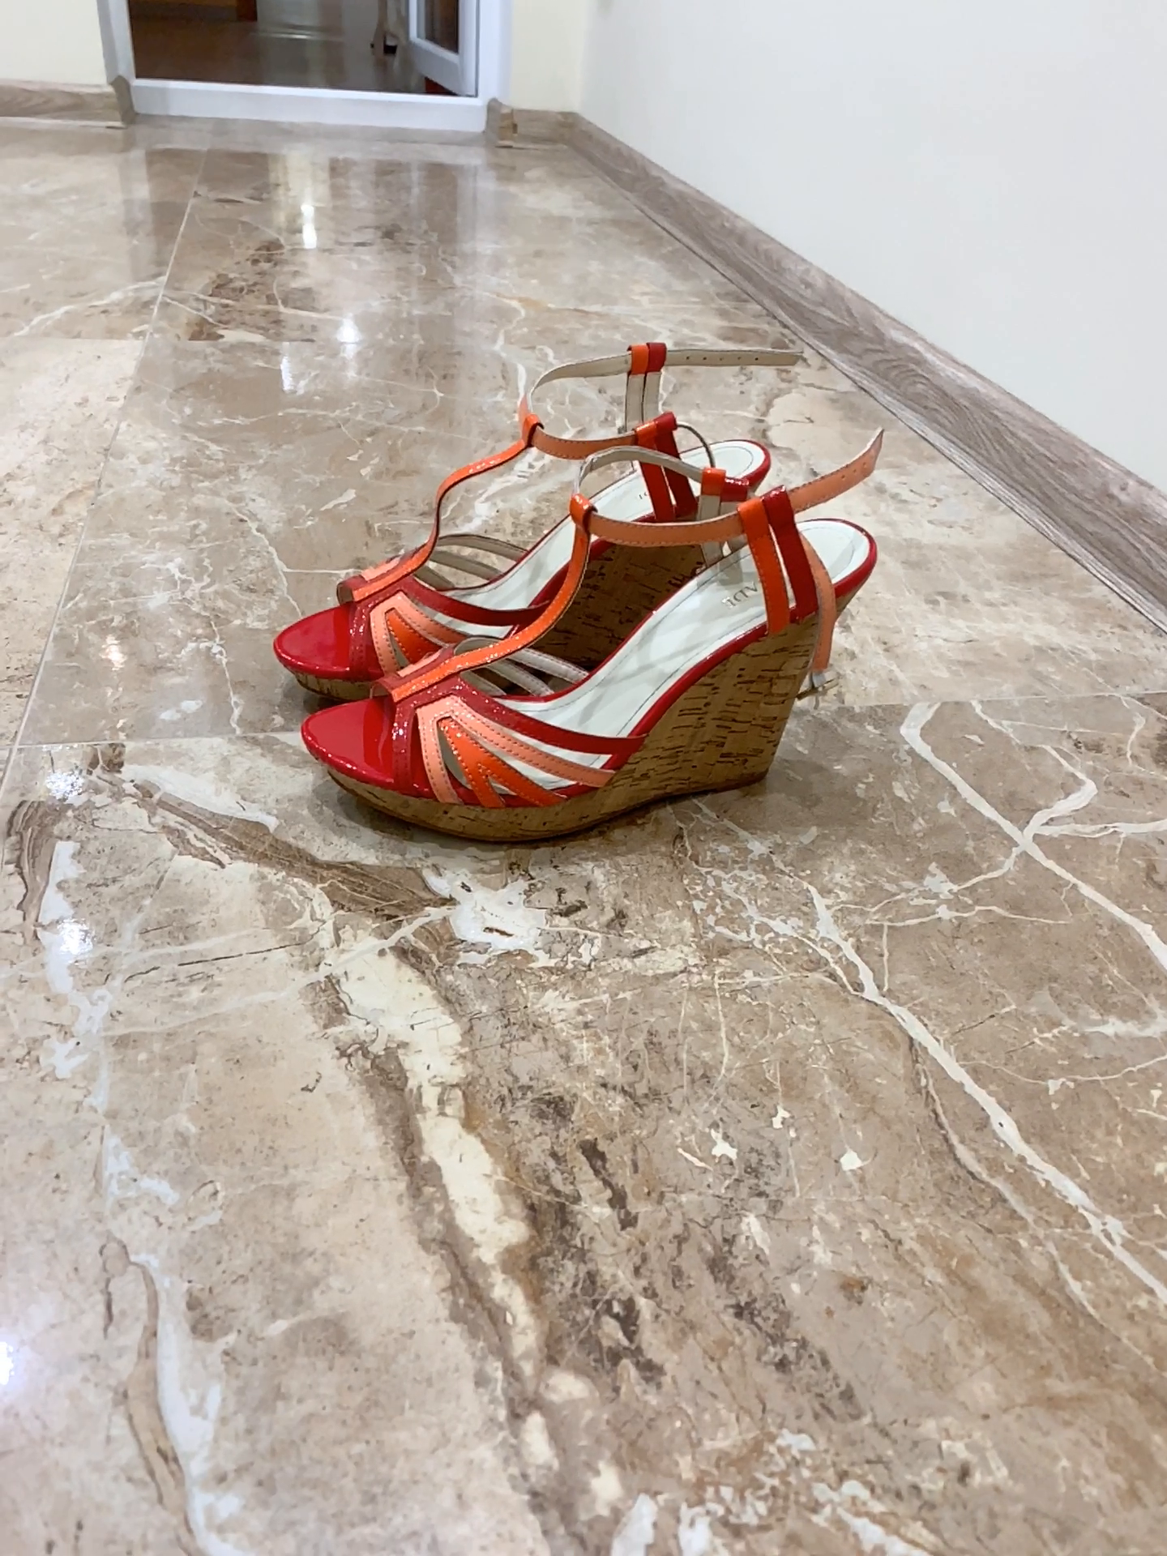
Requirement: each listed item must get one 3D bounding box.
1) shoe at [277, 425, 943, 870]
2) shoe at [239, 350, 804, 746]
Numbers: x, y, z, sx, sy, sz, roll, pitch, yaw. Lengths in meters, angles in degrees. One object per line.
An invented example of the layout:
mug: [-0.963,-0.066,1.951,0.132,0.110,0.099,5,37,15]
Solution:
shoe: [0.003,-0.053,0.451,0.217,0.129,0.080,-6,36,-15]
shoe: [-0.031,-0.105,0.529,0.217,0.139,0.084,-6,36,-15]
